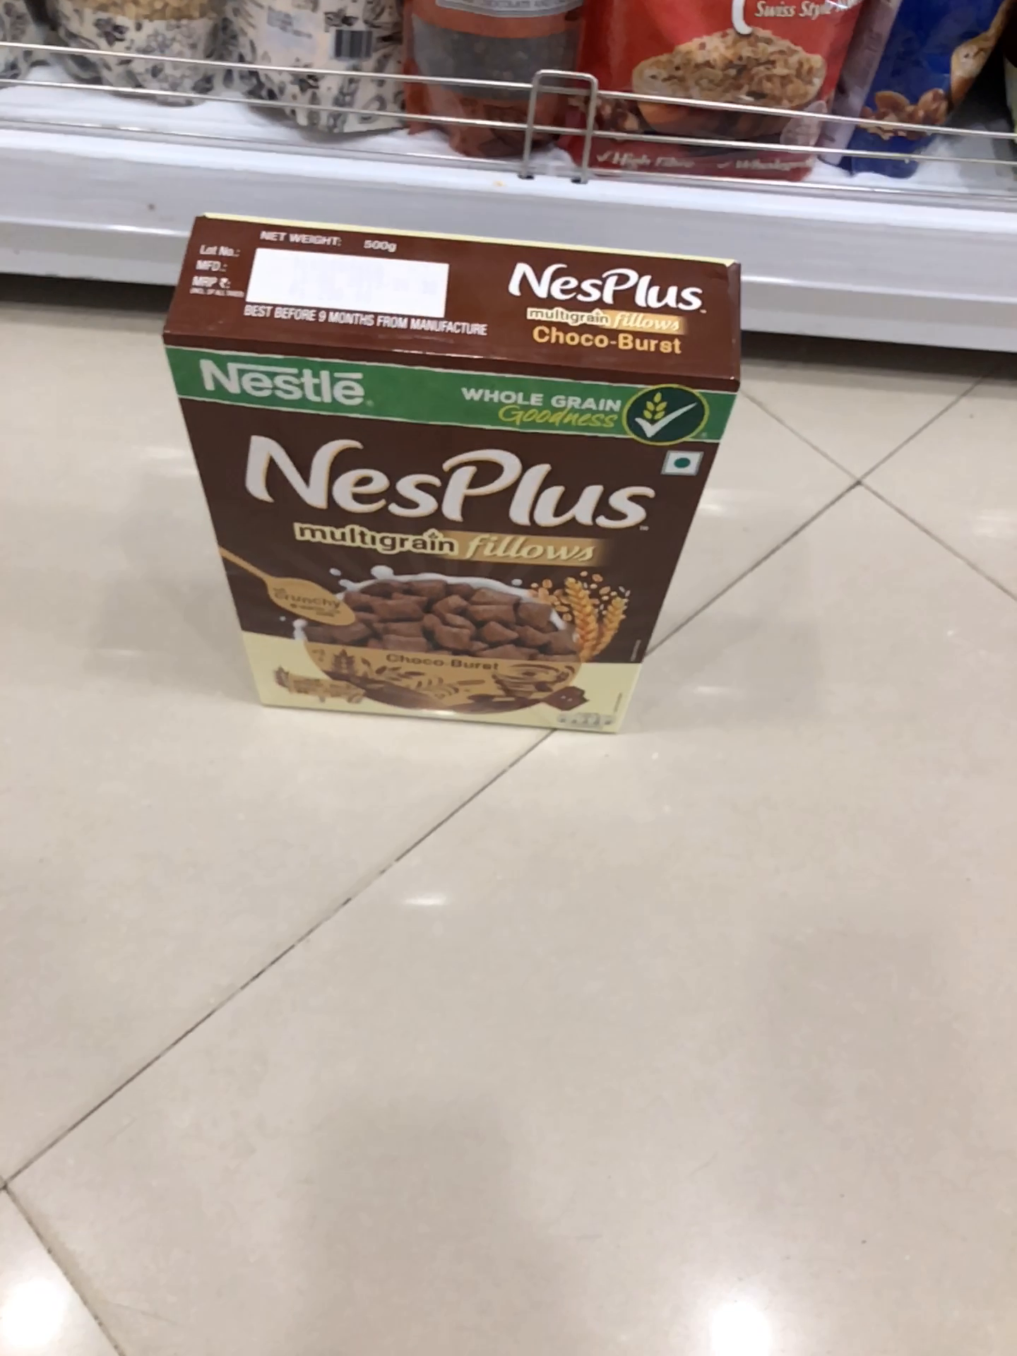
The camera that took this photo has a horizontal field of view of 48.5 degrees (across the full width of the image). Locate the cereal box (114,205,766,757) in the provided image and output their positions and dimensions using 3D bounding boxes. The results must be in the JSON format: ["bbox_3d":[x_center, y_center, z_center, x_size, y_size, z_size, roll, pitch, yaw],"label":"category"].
[{"bbox_3d":[-0.028,-0.058,0.473,0.200,0.259,0.060,5,60,-2],"label":"cereal box"}]
